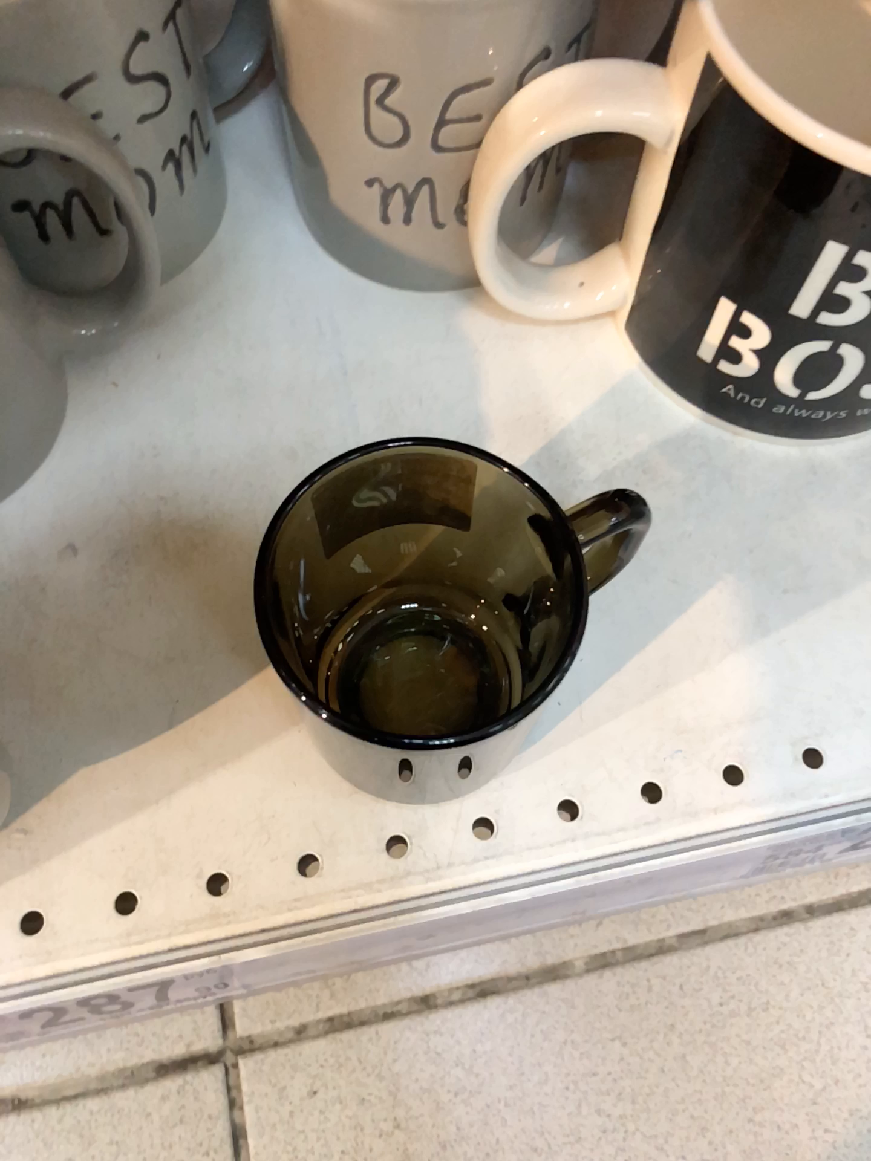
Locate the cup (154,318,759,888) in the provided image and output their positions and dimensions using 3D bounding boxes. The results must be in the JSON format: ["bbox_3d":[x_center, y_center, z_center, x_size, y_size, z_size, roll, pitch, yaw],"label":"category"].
[{"bbox_3d":[0.004,0.008,0.247,0.105,0.074,0.082,-33,72,-14],"label":"cup"}]
